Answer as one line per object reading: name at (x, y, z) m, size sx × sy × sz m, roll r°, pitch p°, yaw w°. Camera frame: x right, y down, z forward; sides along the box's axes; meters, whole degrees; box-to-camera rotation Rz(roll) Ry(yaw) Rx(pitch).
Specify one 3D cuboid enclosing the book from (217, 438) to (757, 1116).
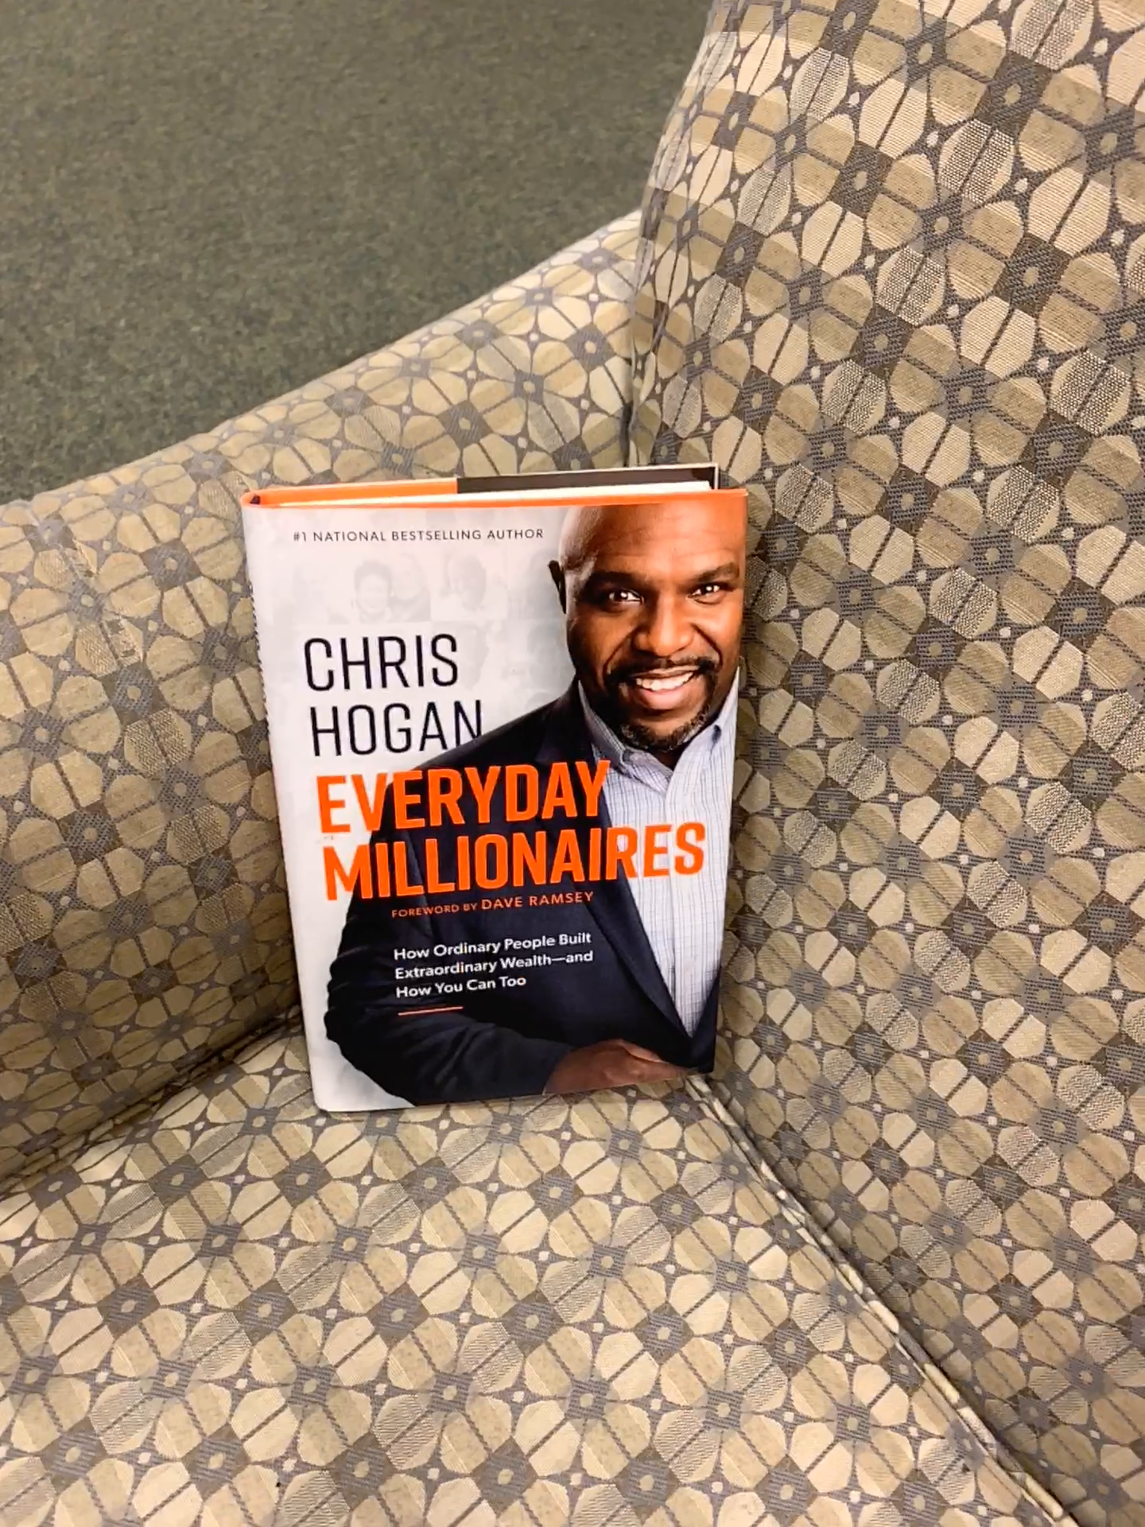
book at (-0.025, 0.014, 0.422) m, size 0.160 × 0.244 × 0.038 m, roll -3°, pitch 27°, yaw -5°
